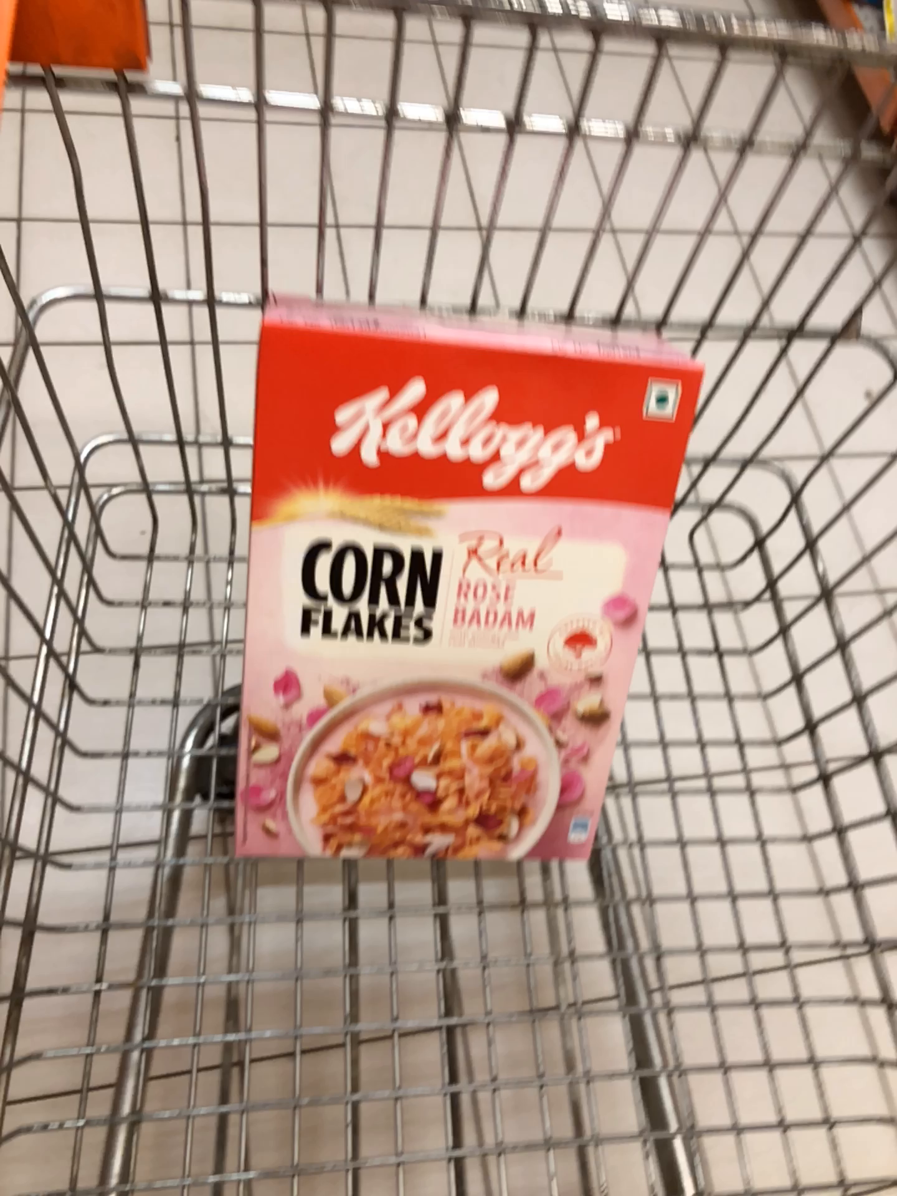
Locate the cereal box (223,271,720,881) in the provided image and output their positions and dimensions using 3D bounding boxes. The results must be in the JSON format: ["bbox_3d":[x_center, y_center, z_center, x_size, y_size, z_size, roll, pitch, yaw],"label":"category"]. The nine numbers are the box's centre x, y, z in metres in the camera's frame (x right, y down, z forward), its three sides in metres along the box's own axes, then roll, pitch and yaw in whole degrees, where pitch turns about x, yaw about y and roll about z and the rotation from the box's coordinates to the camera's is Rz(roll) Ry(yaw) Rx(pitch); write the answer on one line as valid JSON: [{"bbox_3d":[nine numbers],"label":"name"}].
[{"bbox_3d":[-0.005,0.000,0.459,0.180,0.259,0.080,3,25,-10],"label":"cereal box"}]
